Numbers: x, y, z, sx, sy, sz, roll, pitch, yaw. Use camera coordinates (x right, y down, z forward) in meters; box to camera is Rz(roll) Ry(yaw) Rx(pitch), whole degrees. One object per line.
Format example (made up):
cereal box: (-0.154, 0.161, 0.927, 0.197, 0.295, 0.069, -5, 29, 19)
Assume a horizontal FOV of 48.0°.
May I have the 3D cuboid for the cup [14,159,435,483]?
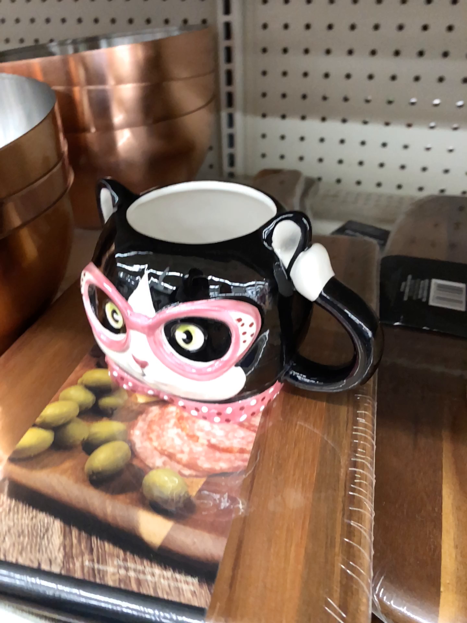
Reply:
cup: (-0.003, -0.007, 0.234, 0.150, 0.080, 0.080, 15, 37, 24)
